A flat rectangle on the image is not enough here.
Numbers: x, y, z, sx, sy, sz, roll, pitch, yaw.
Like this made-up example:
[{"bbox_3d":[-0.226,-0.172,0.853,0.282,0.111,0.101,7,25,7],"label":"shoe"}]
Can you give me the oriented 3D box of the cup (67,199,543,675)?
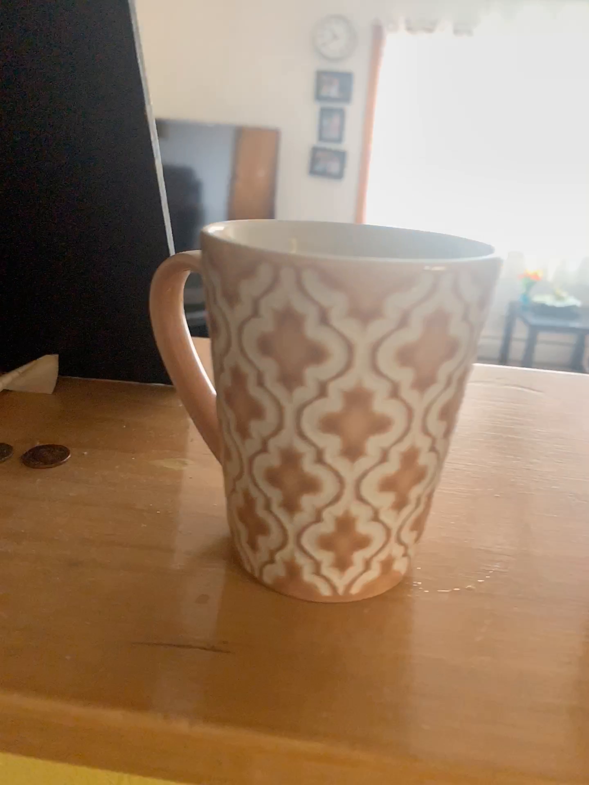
[{"bbox_3d":[0.001,-0.003,0.213,0.120,0.109,0.090,18,26,32],"label":"cup"}]
